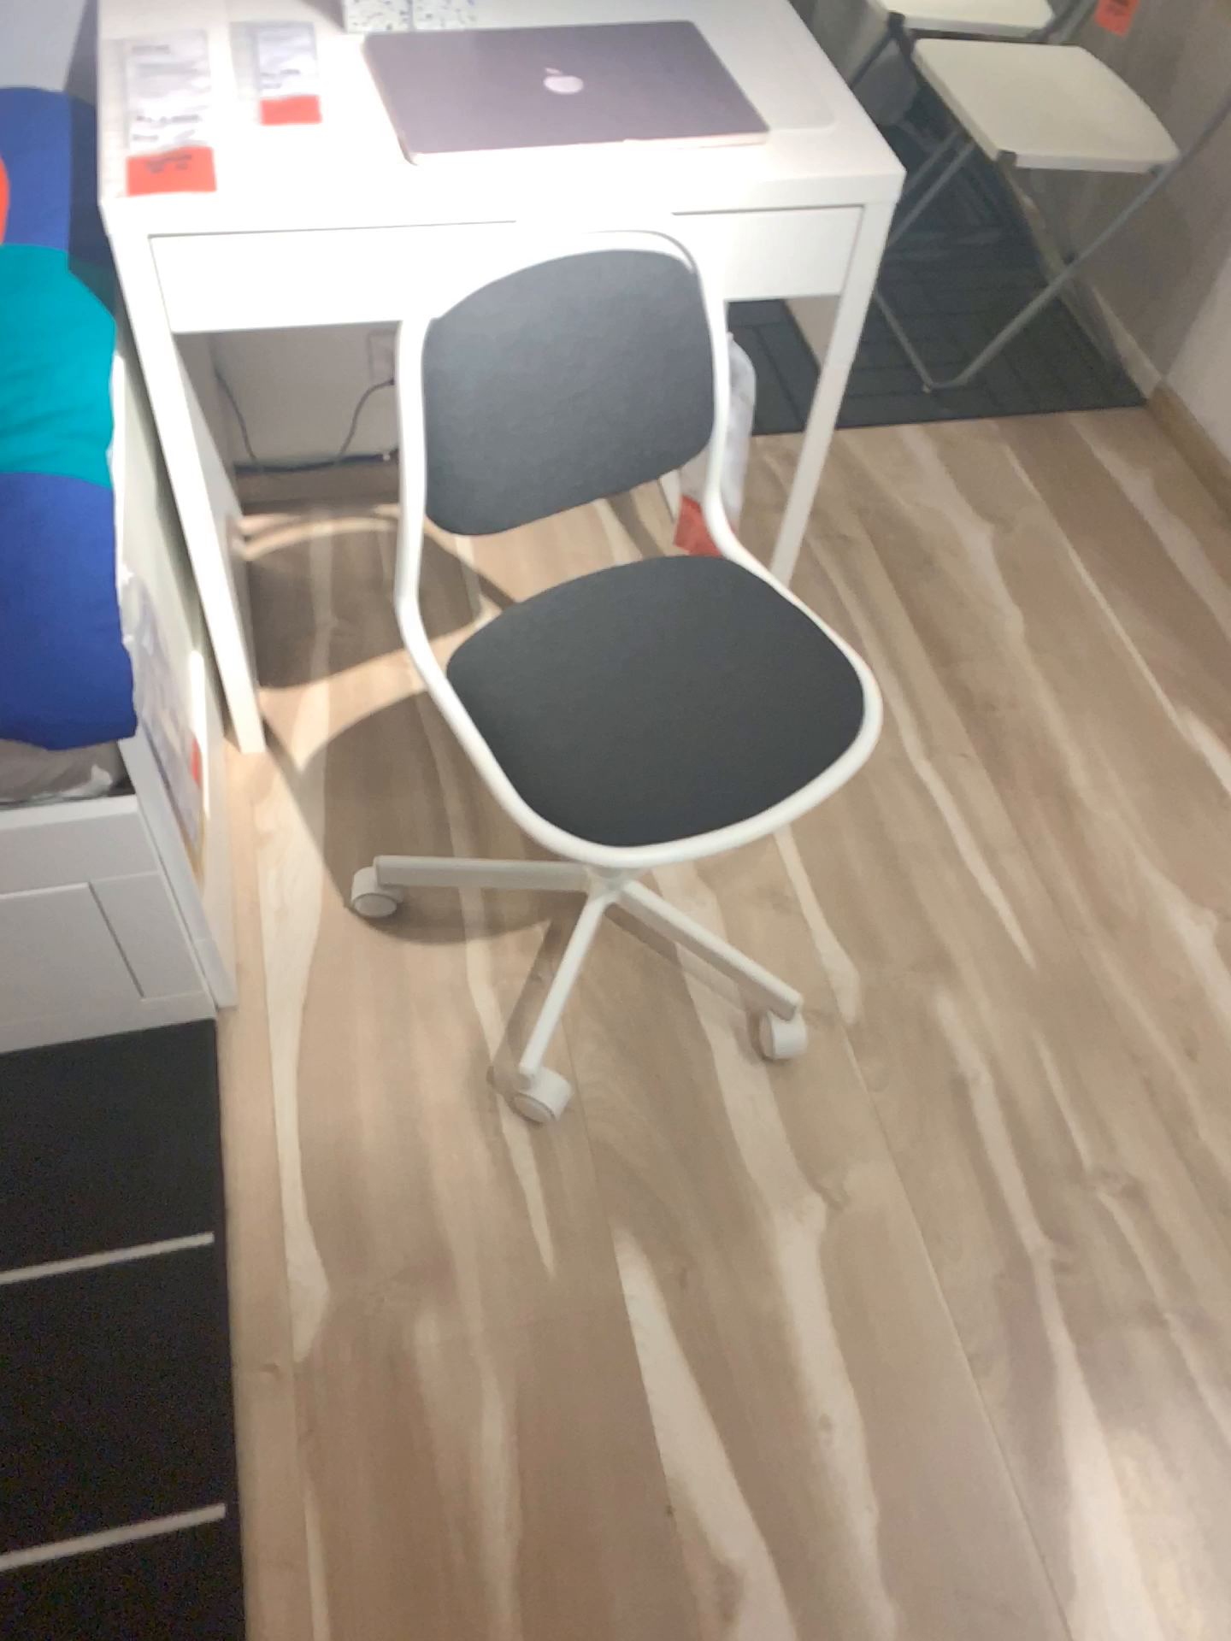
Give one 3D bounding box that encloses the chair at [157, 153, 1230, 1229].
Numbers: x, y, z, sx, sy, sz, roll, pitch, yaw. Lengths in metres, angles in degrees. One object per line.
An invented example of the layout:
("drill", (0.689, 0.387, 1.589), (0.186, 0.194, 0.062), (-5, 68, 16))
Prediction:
("chair", (0.025, -0.117, 1.172), (0.571, 0.628, 0.591), (-26, 60, -22))
